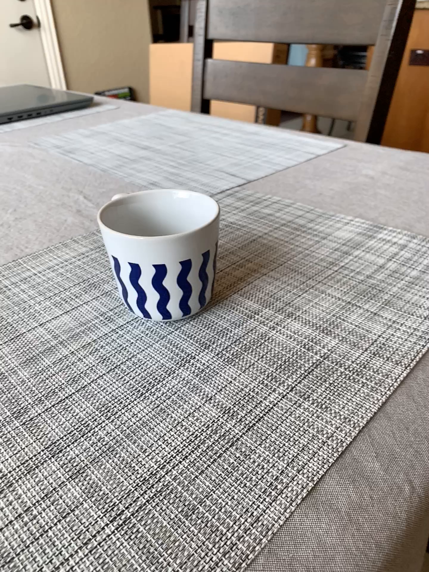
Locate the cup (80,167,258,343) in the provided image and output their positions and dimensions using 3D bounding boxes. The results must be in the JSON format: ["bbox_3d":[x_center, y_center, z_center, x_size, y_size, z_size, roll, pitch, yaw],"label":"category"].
[{"bbox_3d":[-0.036,-0.031,0.333,0.086,0.072,0.113,-18,36,-24],"label":"cup"}]
